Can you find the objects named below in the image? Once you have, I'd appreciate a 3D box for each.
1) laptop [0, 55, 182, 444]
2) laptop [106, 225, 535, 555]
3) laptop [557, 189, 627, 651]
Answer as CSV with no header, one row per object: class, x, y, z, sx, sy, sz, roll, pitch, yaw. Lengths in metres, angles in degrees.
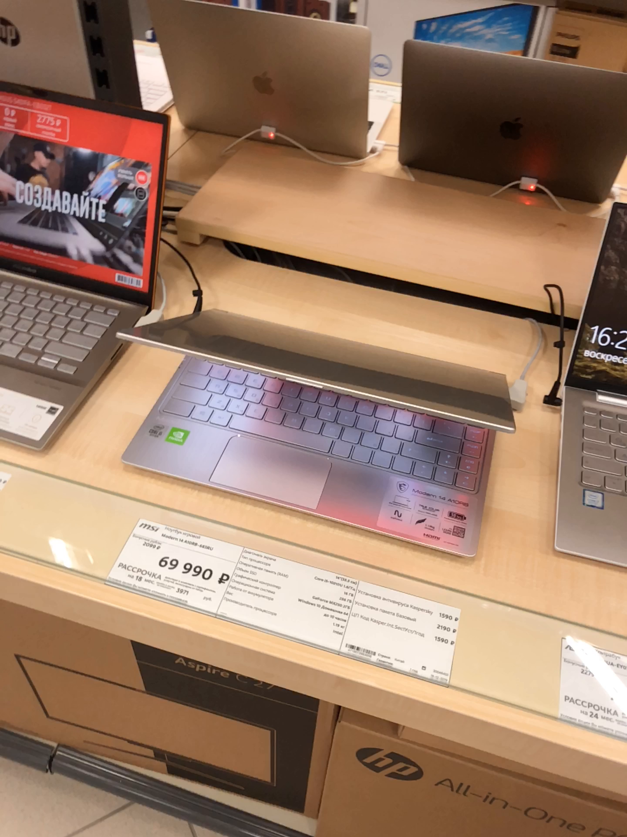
laptop,-0.345,-0.188,0.693,0.309,0.169,0.315,15,49,10
laptop,0.016,-0.040,0.632,0.321,0.113,0.217,14,49,10
laptop,0.408,-0.020,0.601,0.325,0.154,0.302,12,51,9
